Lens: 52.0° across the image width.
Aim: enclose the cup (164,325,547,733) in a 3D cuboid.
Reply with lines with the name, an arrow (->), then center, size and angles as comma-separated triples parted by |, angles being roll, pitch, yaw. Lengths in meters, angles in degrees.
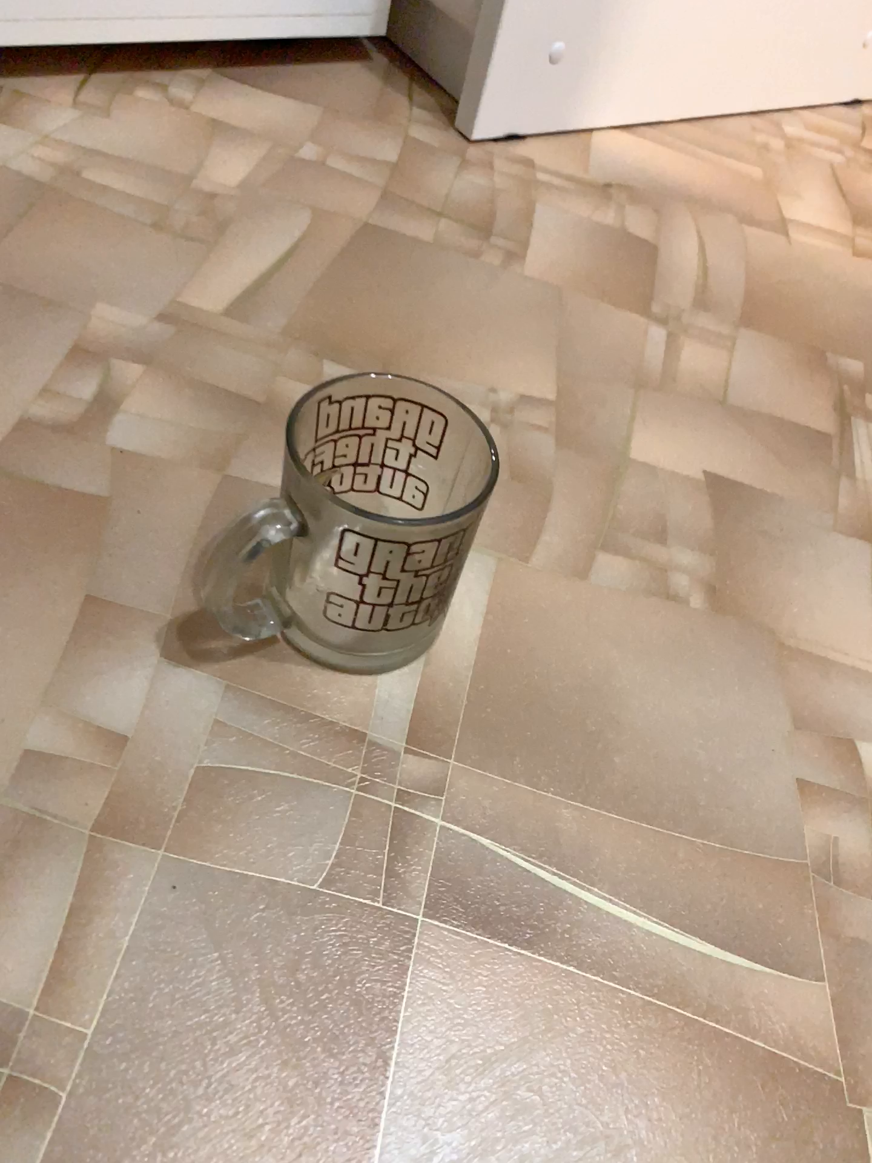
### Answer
cup -> -0.035, -0.020, 0.327 | 0.098, 0.097, 0.082 | -22, 60, -29
